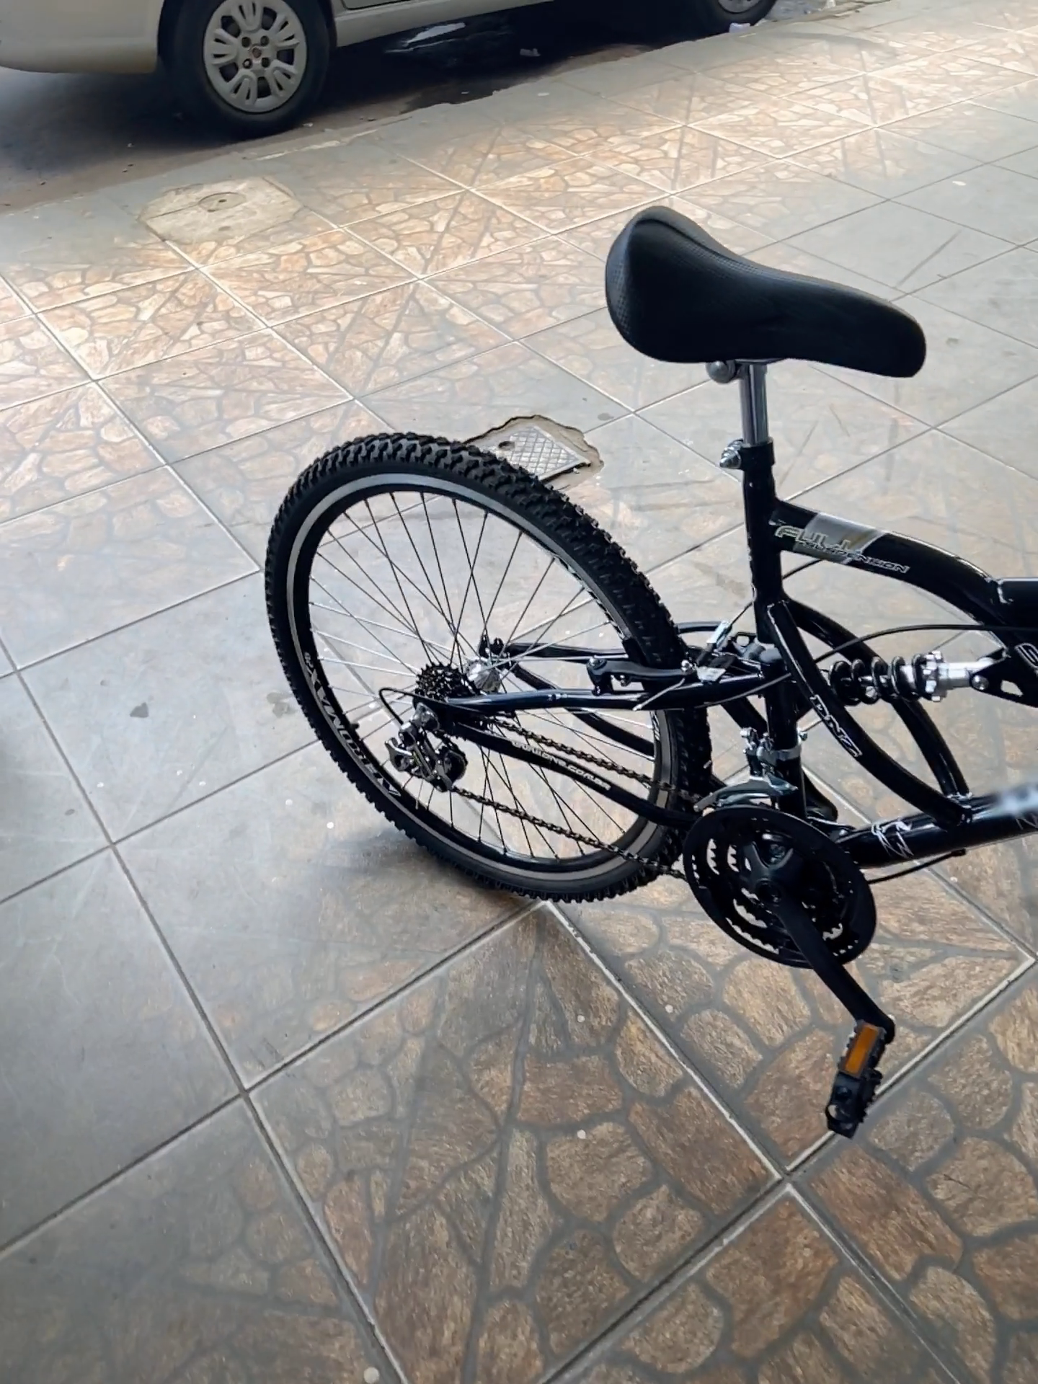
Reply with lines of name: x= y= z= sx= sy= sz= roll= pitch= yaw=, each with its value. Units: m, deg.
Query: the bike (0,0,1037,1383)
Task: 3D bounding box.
bike: x=0.362 y=-0.096 z=0.975 sx=1.585 sy=1.154 sz=0.606 roll=14 pitch=49 yaw=20
